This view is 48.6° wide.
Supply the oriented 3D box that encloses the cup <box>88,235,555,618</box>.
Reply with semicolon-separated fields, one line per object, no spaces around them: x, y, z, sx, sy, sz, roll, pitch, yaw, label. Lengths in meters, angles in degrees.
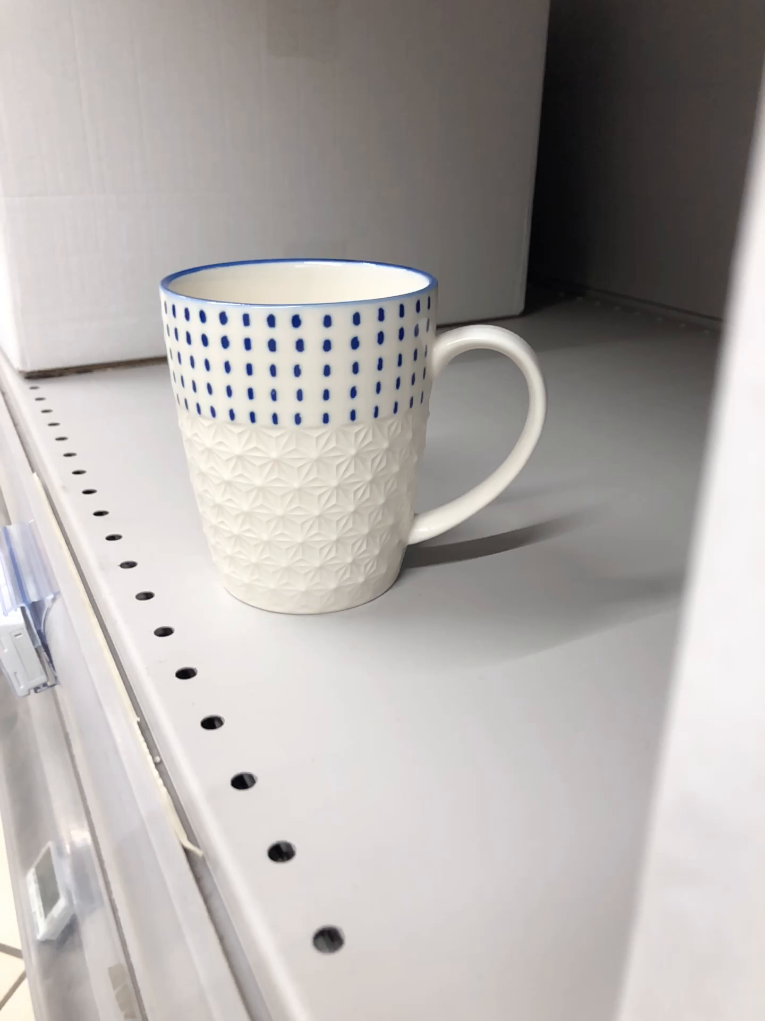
-0.016;-0.034;0.280;0.119;0.096;0.097;-2;24;-2;cup
